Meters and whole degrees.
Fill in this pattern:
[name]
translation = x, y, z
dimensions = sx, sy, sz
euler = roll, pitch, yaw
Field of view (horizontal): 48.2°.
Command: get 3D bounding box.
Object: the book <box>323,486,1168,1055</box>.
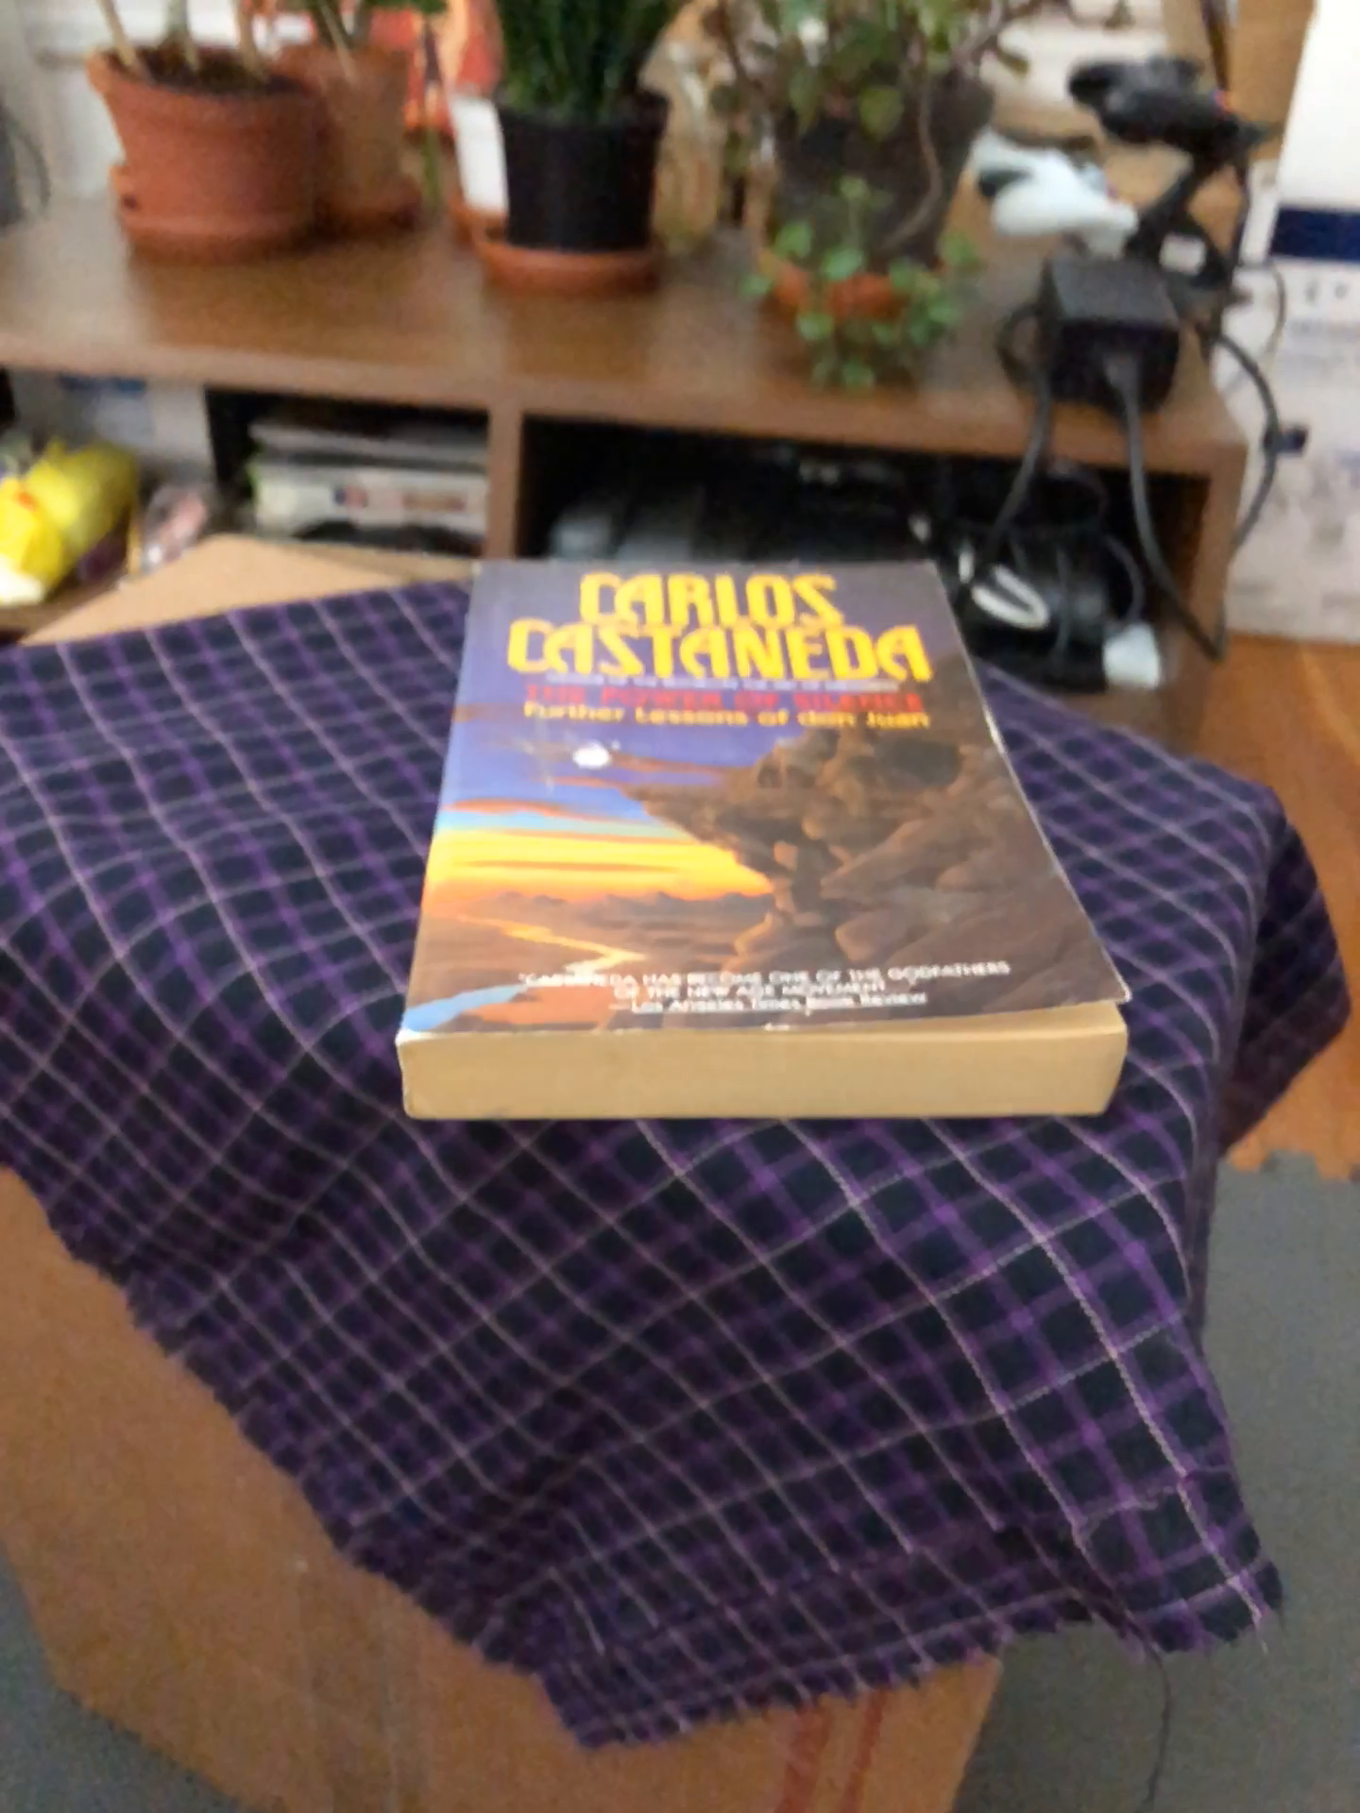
[book]
translation = 0.009, -0.047, 0.364
dimensions = 0.150, 0.020, 0.221
euler = 1, 37, -2
